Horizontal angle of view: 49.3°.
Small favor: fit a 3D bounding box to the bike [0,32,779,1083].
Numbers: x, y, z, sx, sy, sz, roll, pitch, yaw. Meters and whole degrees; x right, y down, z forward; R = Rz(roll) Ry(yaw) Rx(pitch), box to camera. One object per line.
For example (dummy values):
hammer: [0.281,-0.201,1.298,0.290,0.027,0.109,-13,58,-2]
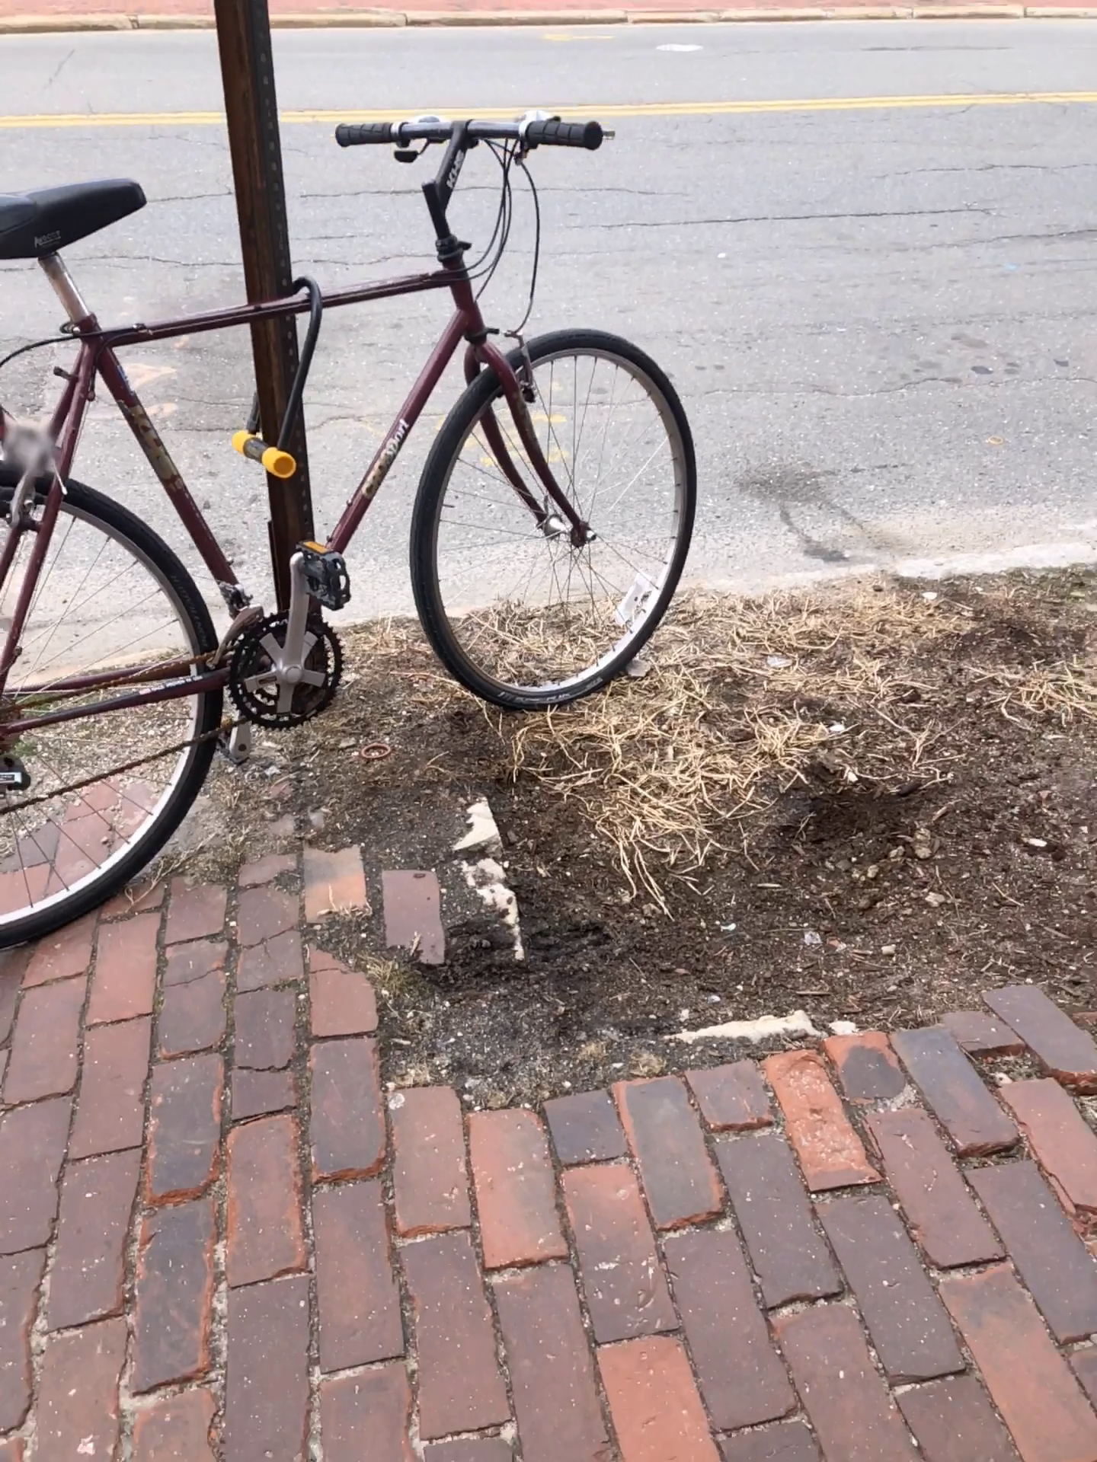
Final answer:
bike: [-0.448,-0.424,1.843,1.687,0.962,0.556,-27,43,-32]
